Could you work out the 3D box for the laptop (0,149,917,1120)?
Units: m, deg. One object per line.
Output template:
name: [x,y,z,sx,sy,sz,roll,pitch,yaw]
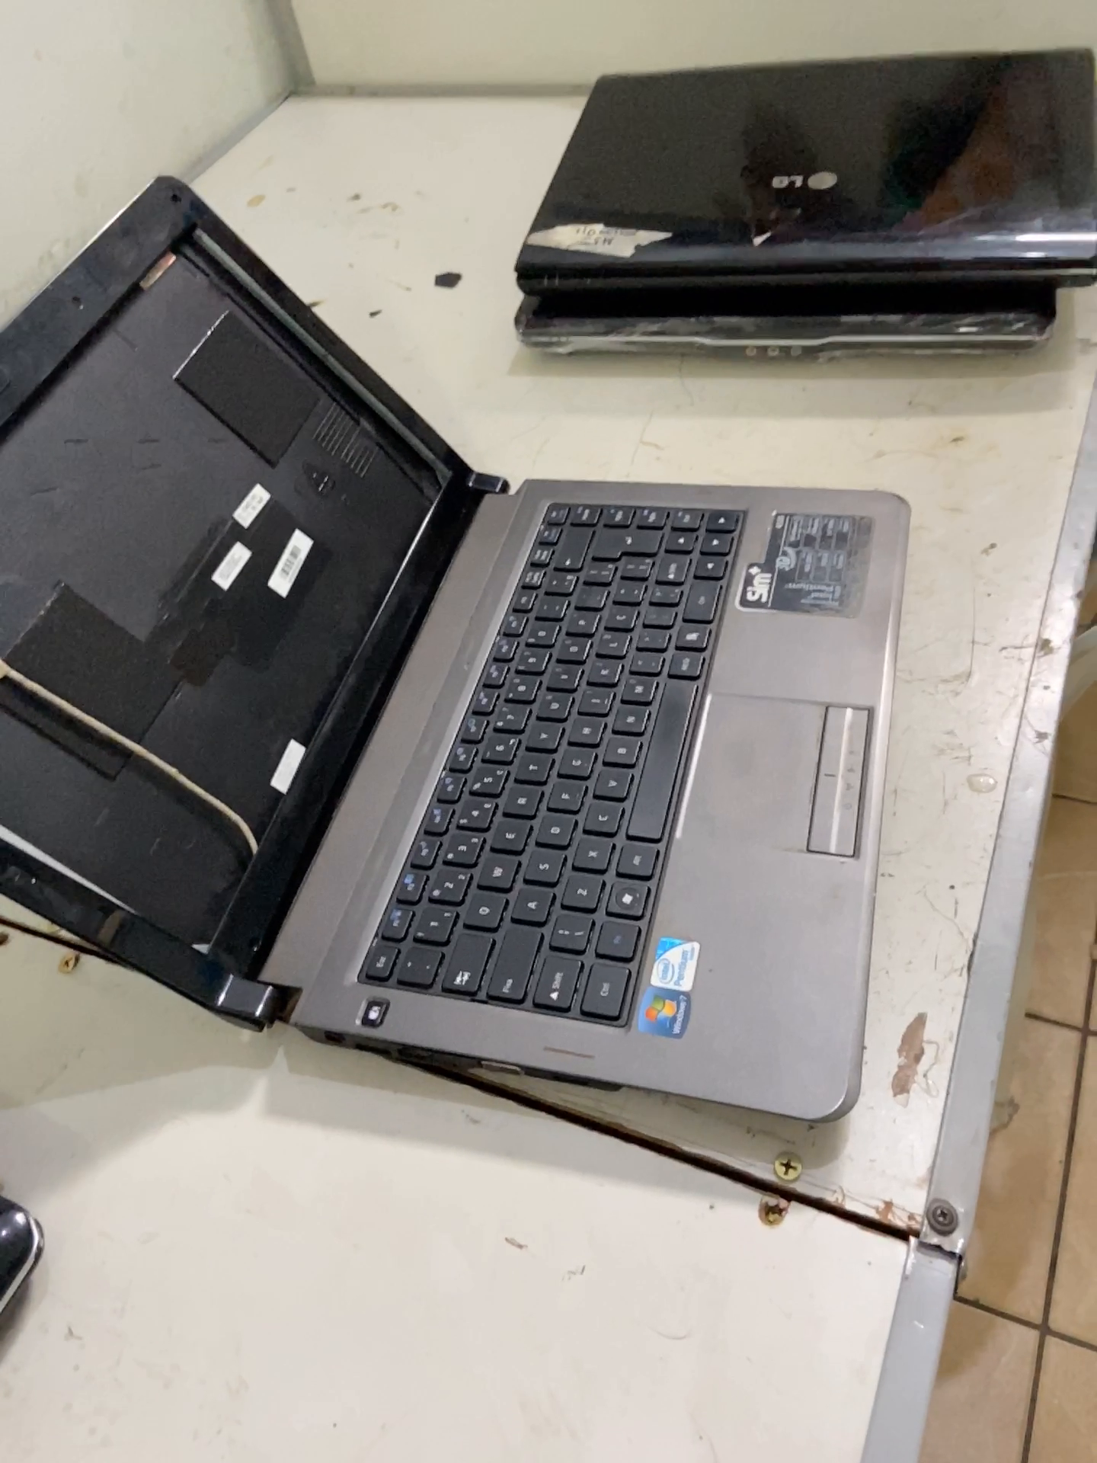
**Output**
laptop: [-0.050,-0.072,0.476,0.365,0.174,0.344,5,50,17]
